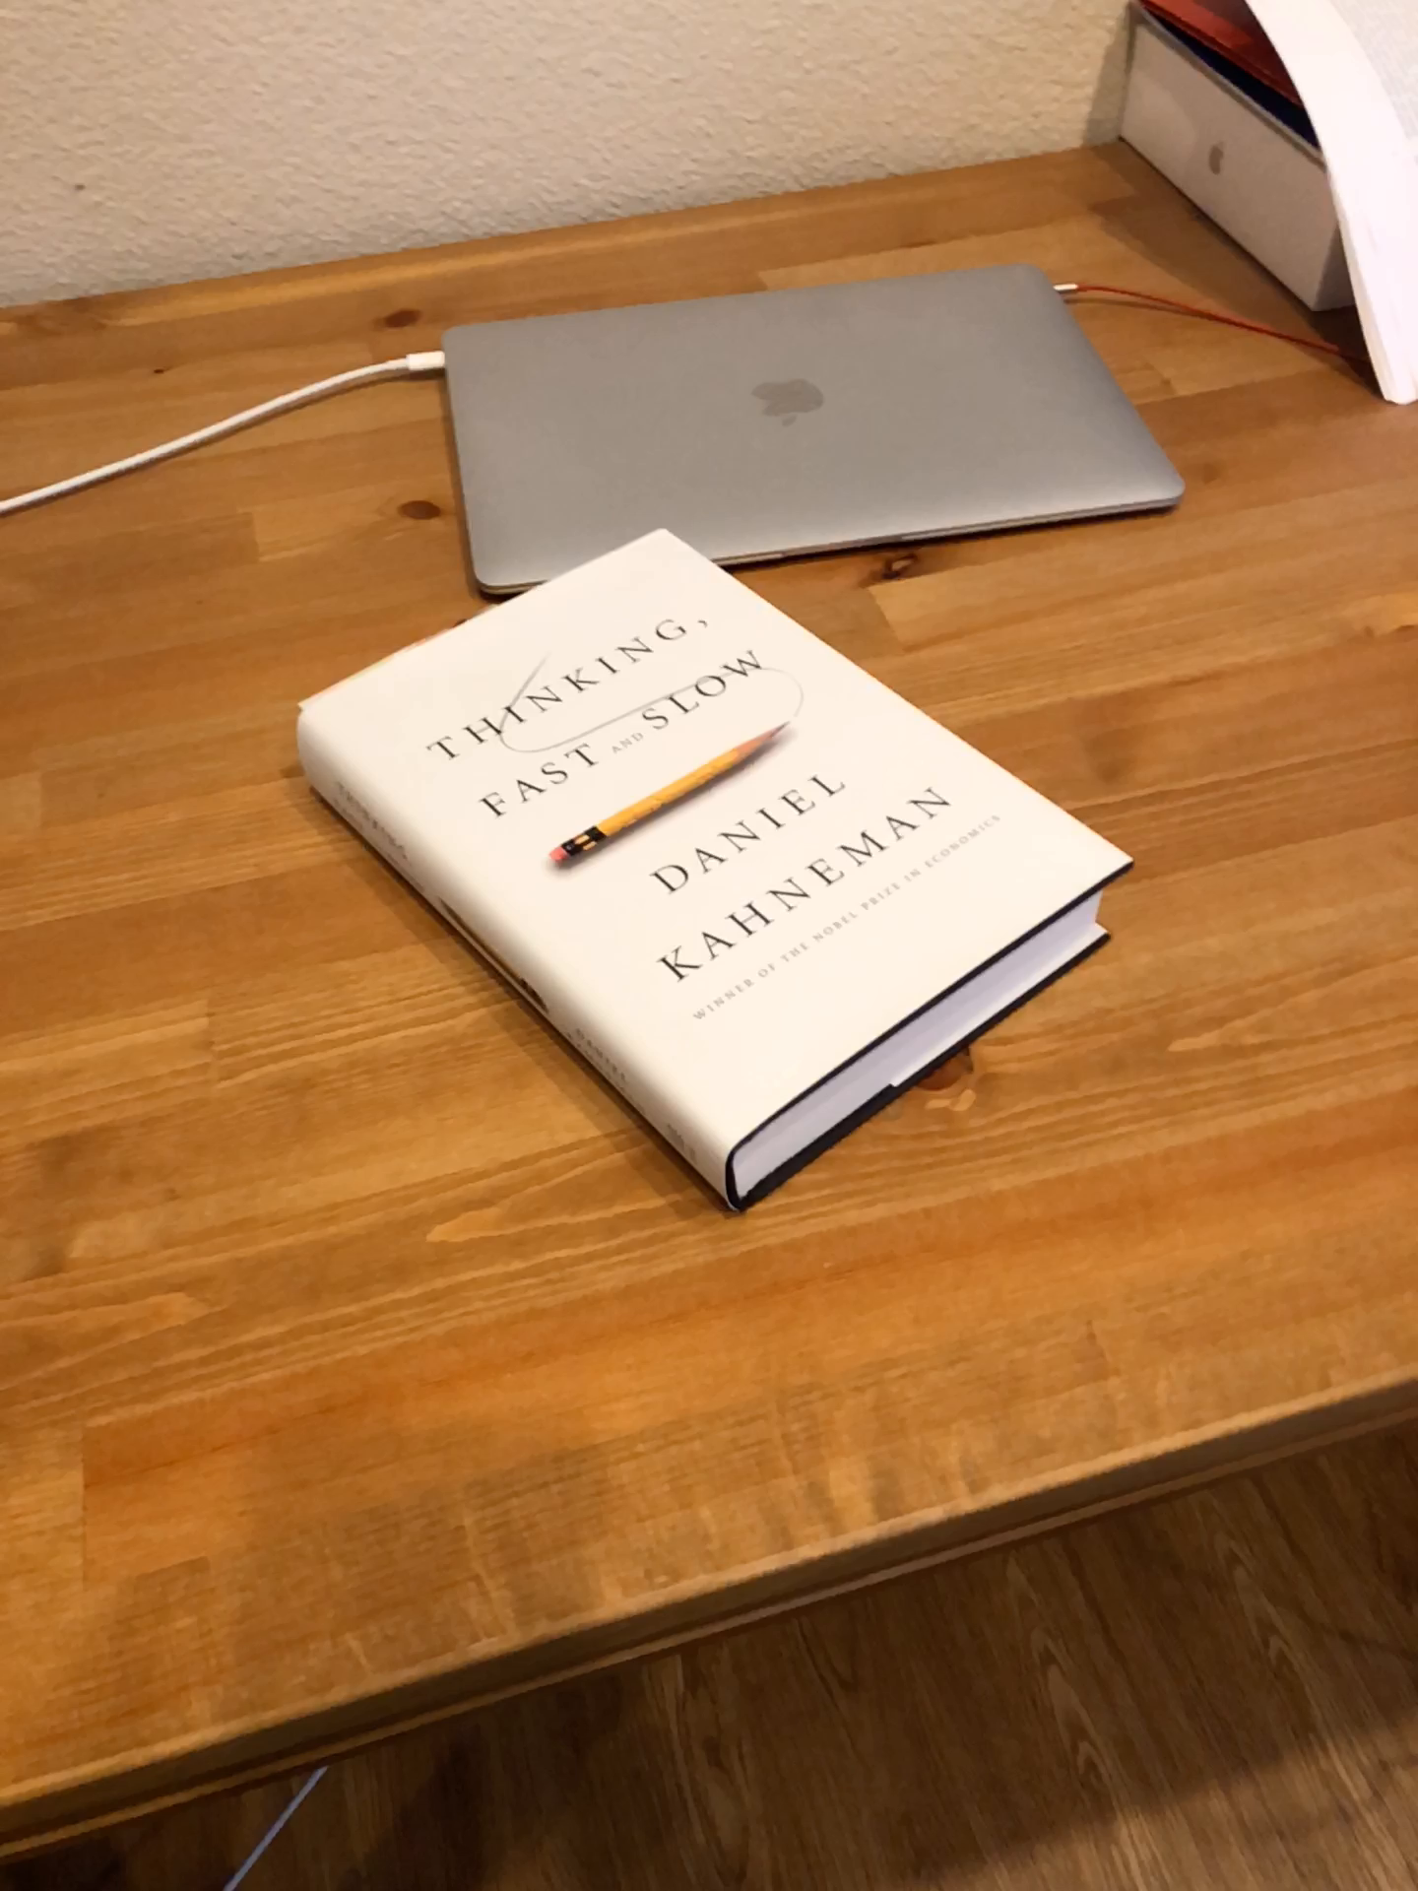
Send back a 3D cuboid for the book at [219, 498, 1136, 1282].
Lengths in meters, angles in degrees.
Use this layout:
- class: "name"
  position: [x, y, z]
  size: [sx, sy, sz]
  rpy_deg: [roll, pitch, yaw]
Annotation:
- class: "book"
  position: [-0.018, -0.039, 0.529]
  size: [0.180, 0.060, 0.251]
  rpy_deg: [-32, 55, -24]
